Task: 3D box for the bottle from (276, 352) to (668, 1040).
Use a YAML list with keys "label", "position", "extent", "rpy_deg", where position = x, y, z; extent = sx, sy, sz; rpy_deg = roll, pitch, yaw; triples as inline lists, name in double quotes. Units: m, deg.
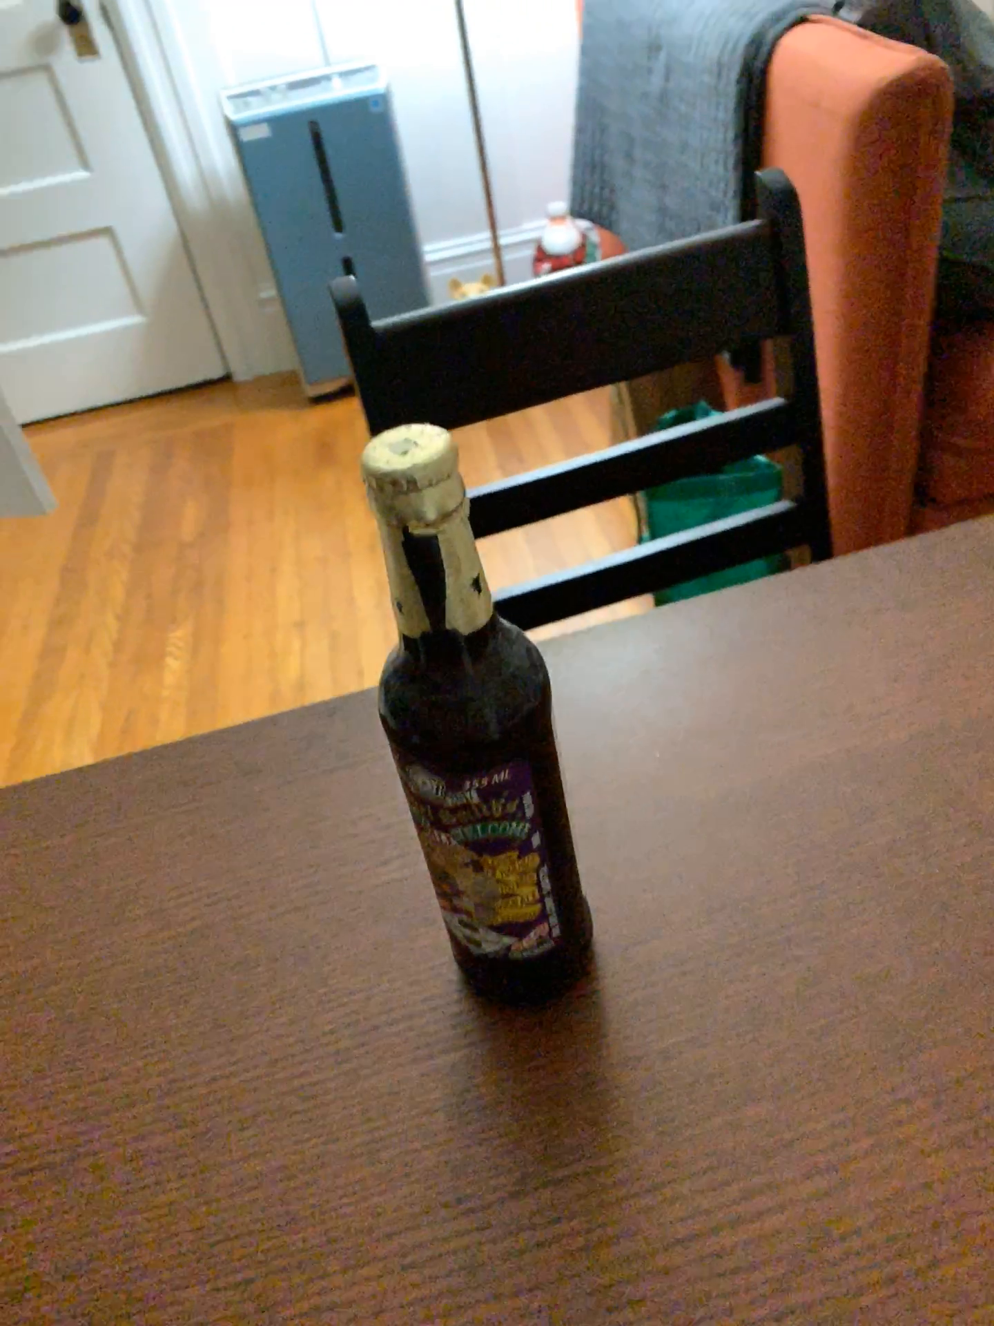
- label: "bottle"
  position: [0.003, 0.023, 0.353]
  extent: [0.070, 0.229, 0.070]
  rpy_deg: [-7, 39, 6]
